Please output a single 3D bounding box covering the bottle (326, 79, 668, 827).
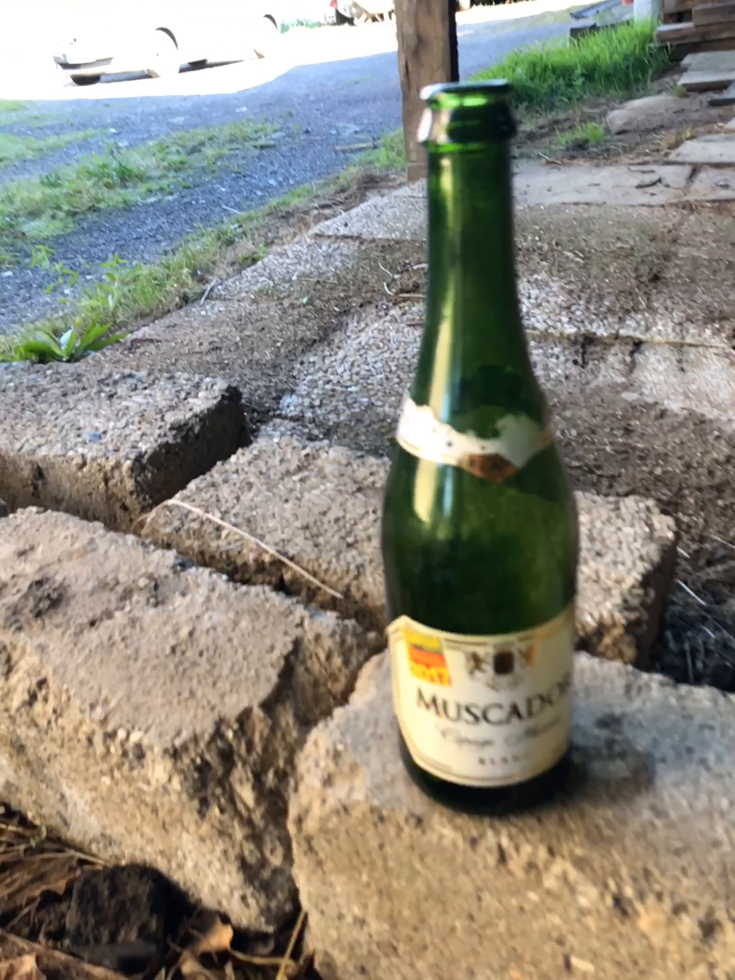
[{"bbox_3d":[0.047,0.001,0.323,0.090,0.288,0.091,-3,30,2],"label":"bottle"}]
